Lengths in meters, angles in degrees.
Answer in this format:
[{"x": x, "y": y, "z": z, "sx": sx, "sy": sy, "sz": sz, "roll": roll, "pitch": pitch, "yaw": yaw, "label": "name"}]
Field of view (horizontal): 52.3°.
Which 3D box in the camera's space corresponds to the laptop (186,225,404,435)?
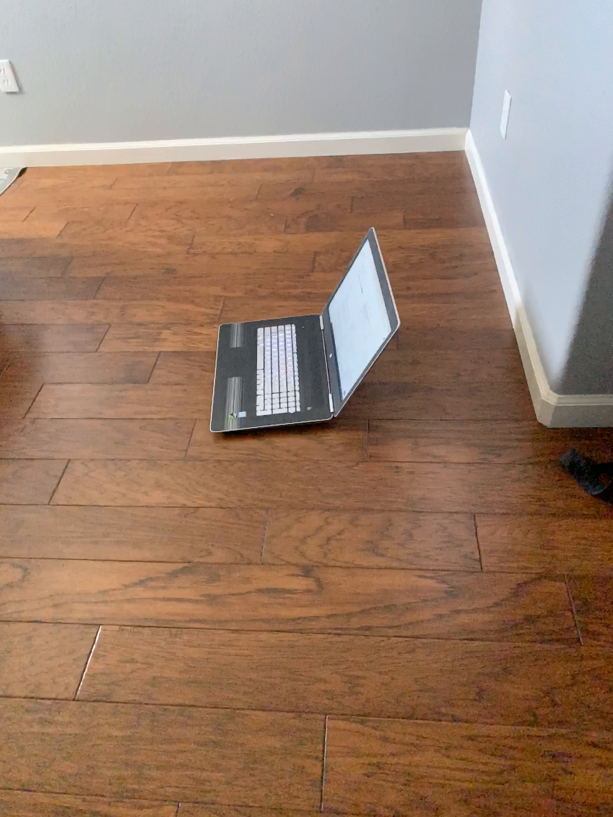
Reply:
[{"x": -0.026, "y": -0.192, "z": 1.427, "sx": 0.421, "sy": 0.233, "sz": 0.413, "roll": -6, "pitch": 43, "yaw": 1, "label": "laptop"}]
